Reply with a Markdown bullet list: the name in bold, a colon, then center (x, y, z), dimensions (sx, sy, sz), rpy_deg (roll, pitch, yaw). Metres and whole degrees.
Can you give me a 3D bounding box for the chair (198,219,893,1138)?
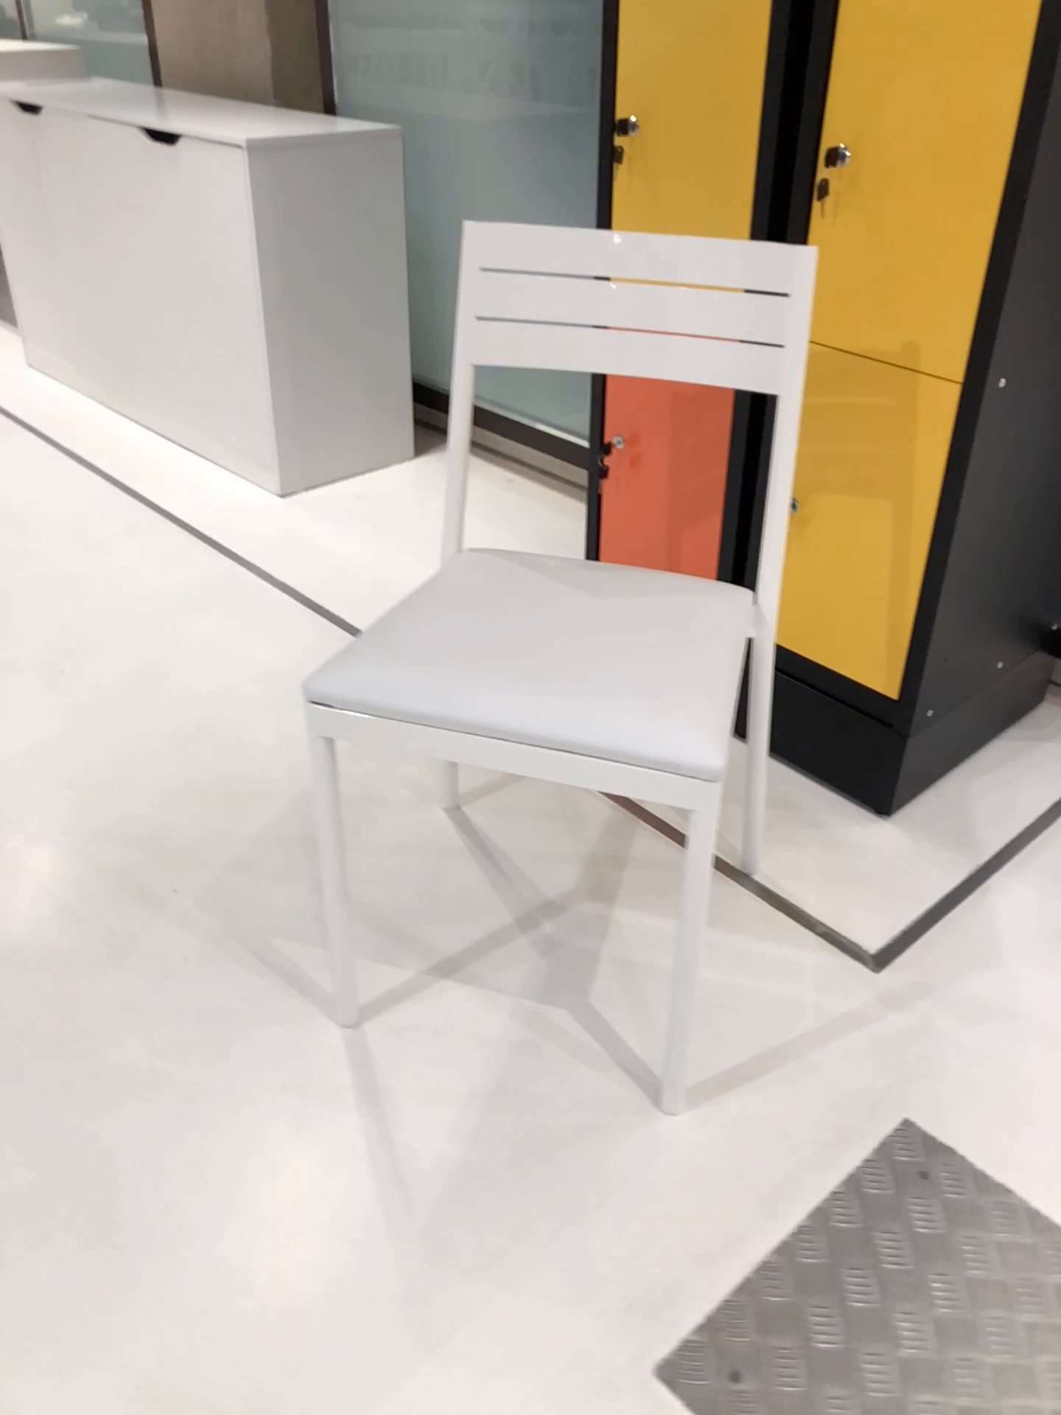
- **chair**: center (0.057, -0.064, 1.233), dimensions (0.480, 0.734, 0.534), rpy_deg (10, 33, 16)
